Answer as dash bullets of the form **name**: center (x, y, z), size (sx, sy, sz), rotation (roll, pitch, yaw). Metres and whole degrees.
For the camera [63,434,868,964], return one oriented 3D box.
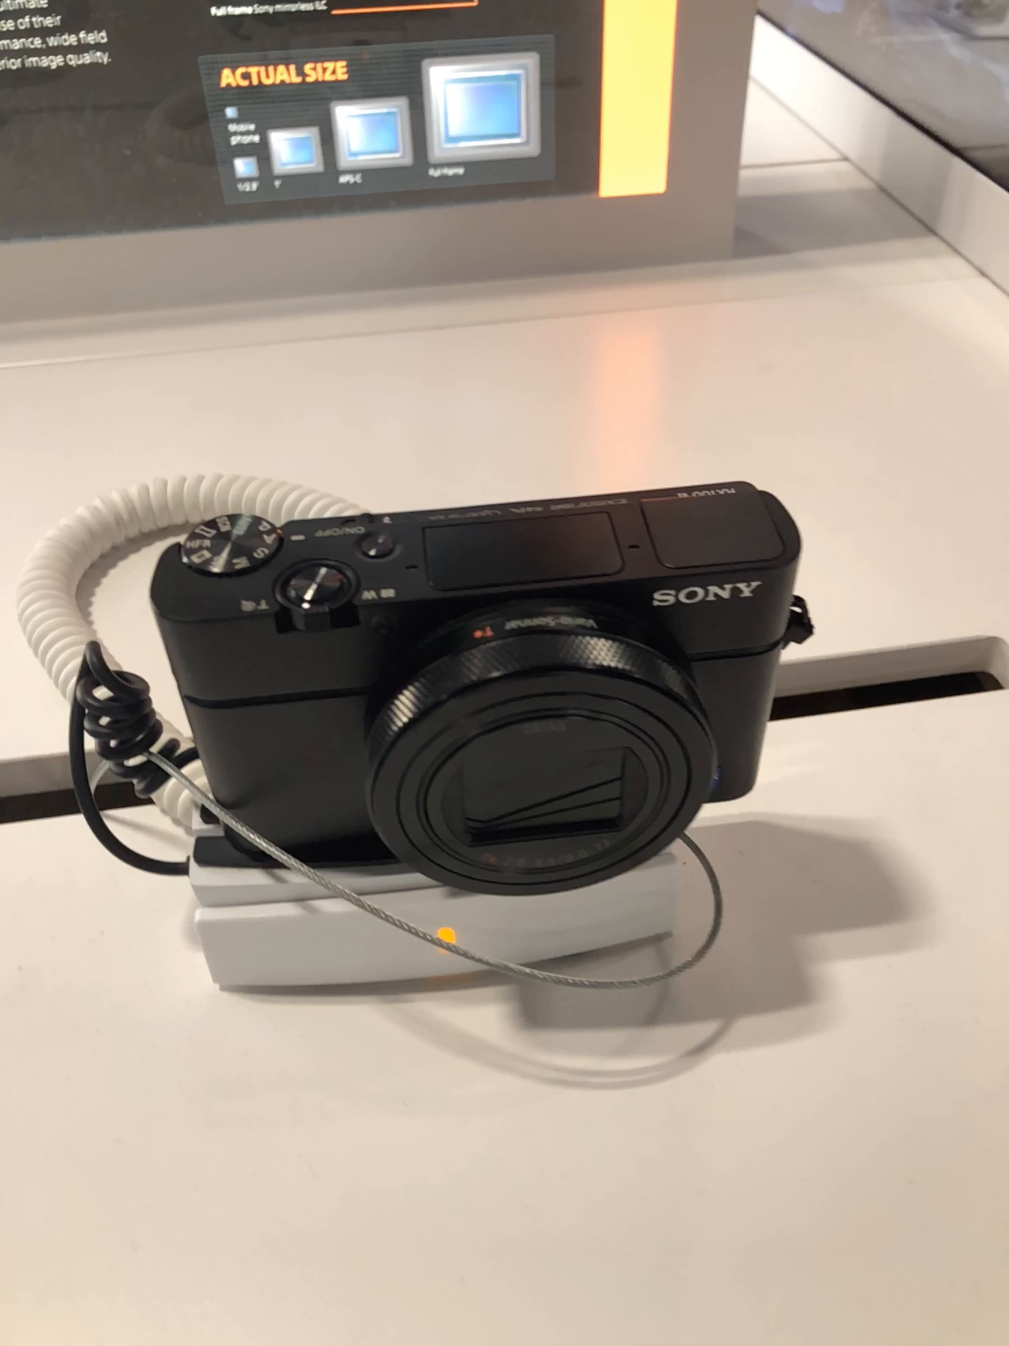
- **camera**: center (-0.005, 0.005, 0.191), size (0.110, 0.070, 0.040), rotation (-6, 41, -4)
